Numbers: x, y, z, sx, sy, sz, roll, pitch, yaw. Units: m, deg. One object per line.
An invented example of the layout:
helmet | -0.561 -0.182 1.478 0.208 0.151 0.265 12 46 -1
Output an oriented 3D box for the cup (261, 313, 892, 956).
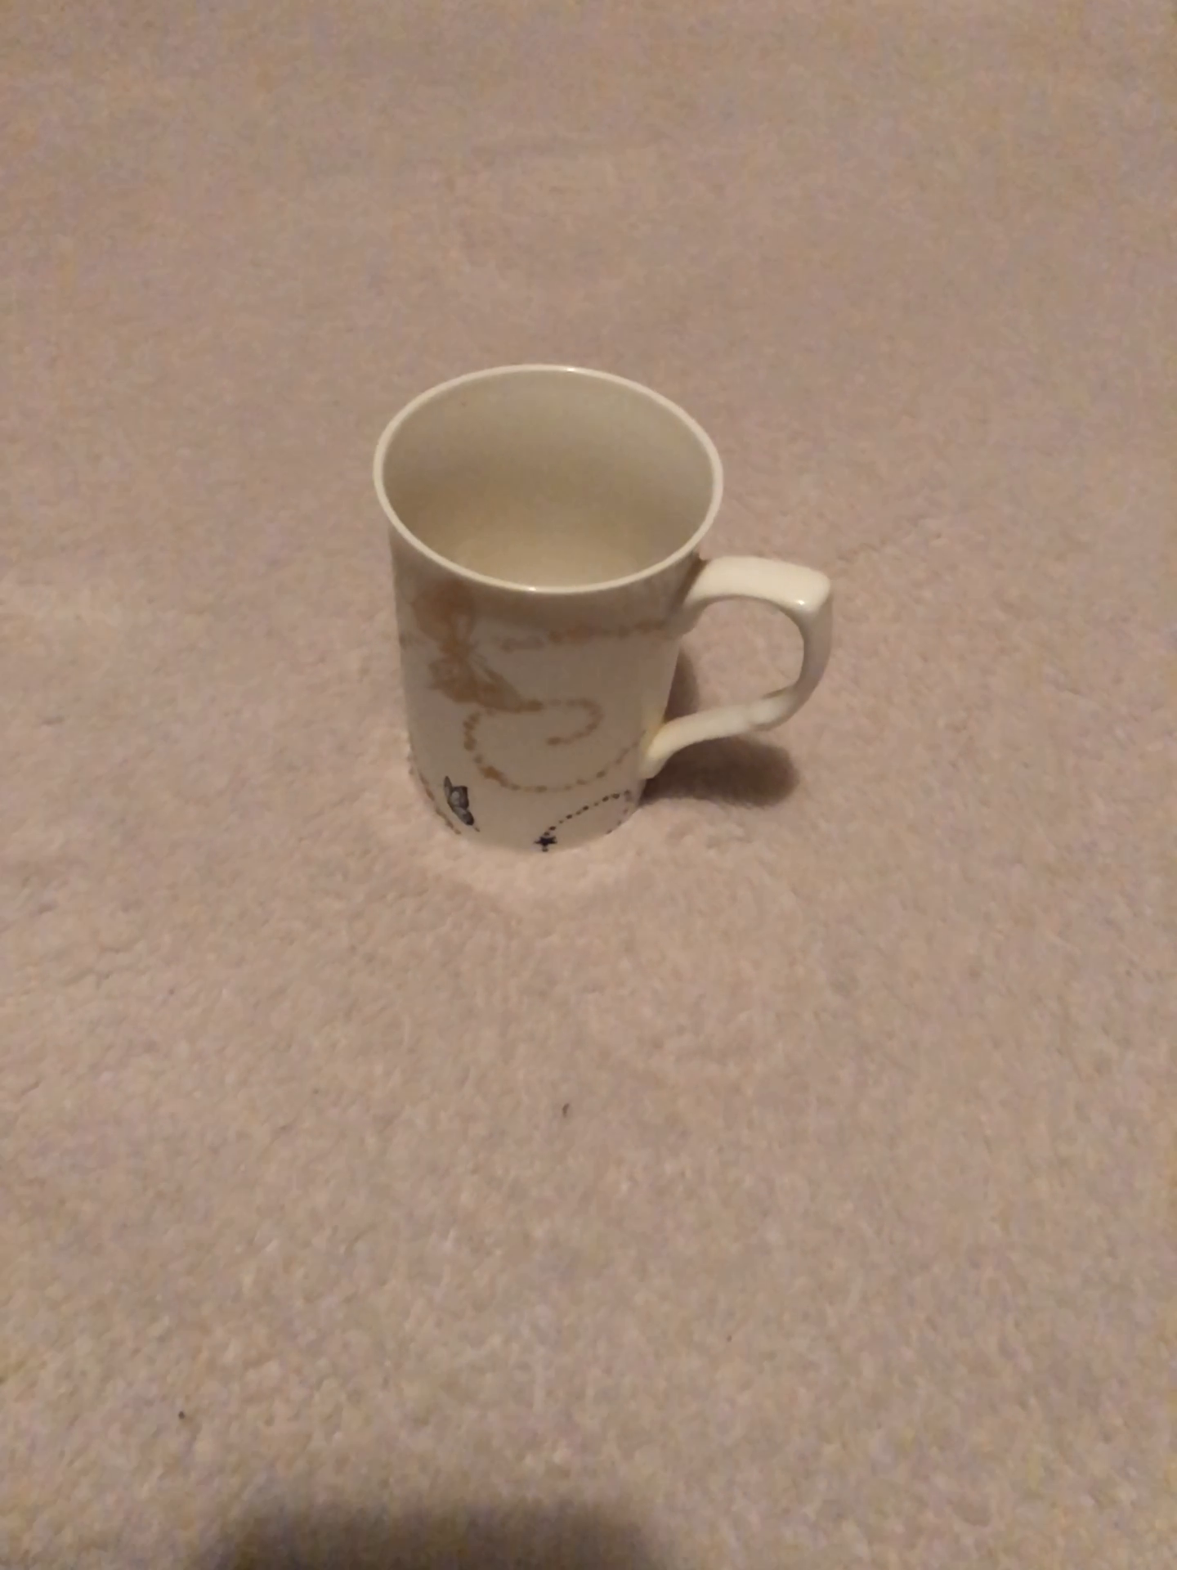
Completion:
cup | -0.001 -0.032 0.310 0.112 0.110 0.074 15 54 9
